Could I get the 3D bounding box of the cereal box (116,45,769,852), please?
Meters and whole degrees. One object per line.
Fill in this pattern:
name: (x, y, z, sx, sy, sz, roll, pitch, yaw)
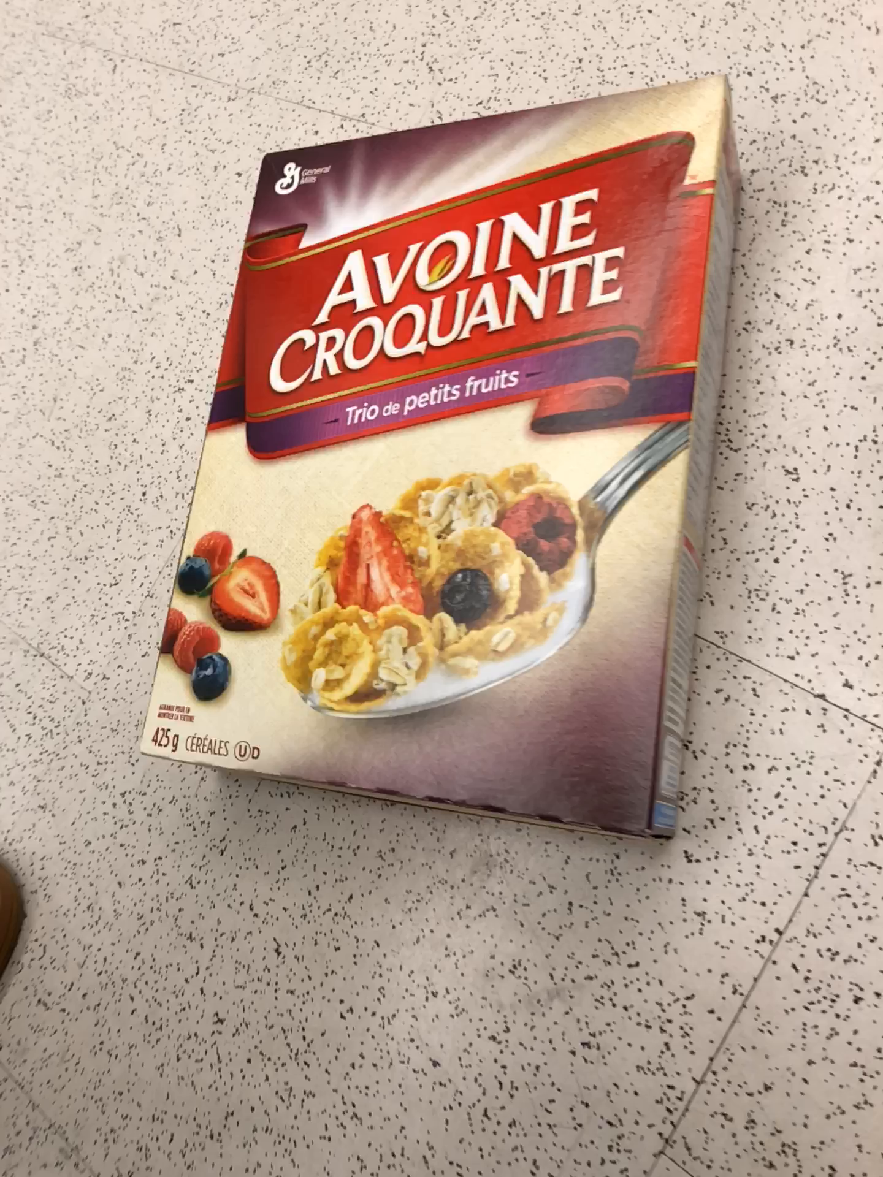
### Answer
cereal box: (0.003, -0.053, 0.381, 0.211, 0.060, 0.270, 3, 77, 25)
